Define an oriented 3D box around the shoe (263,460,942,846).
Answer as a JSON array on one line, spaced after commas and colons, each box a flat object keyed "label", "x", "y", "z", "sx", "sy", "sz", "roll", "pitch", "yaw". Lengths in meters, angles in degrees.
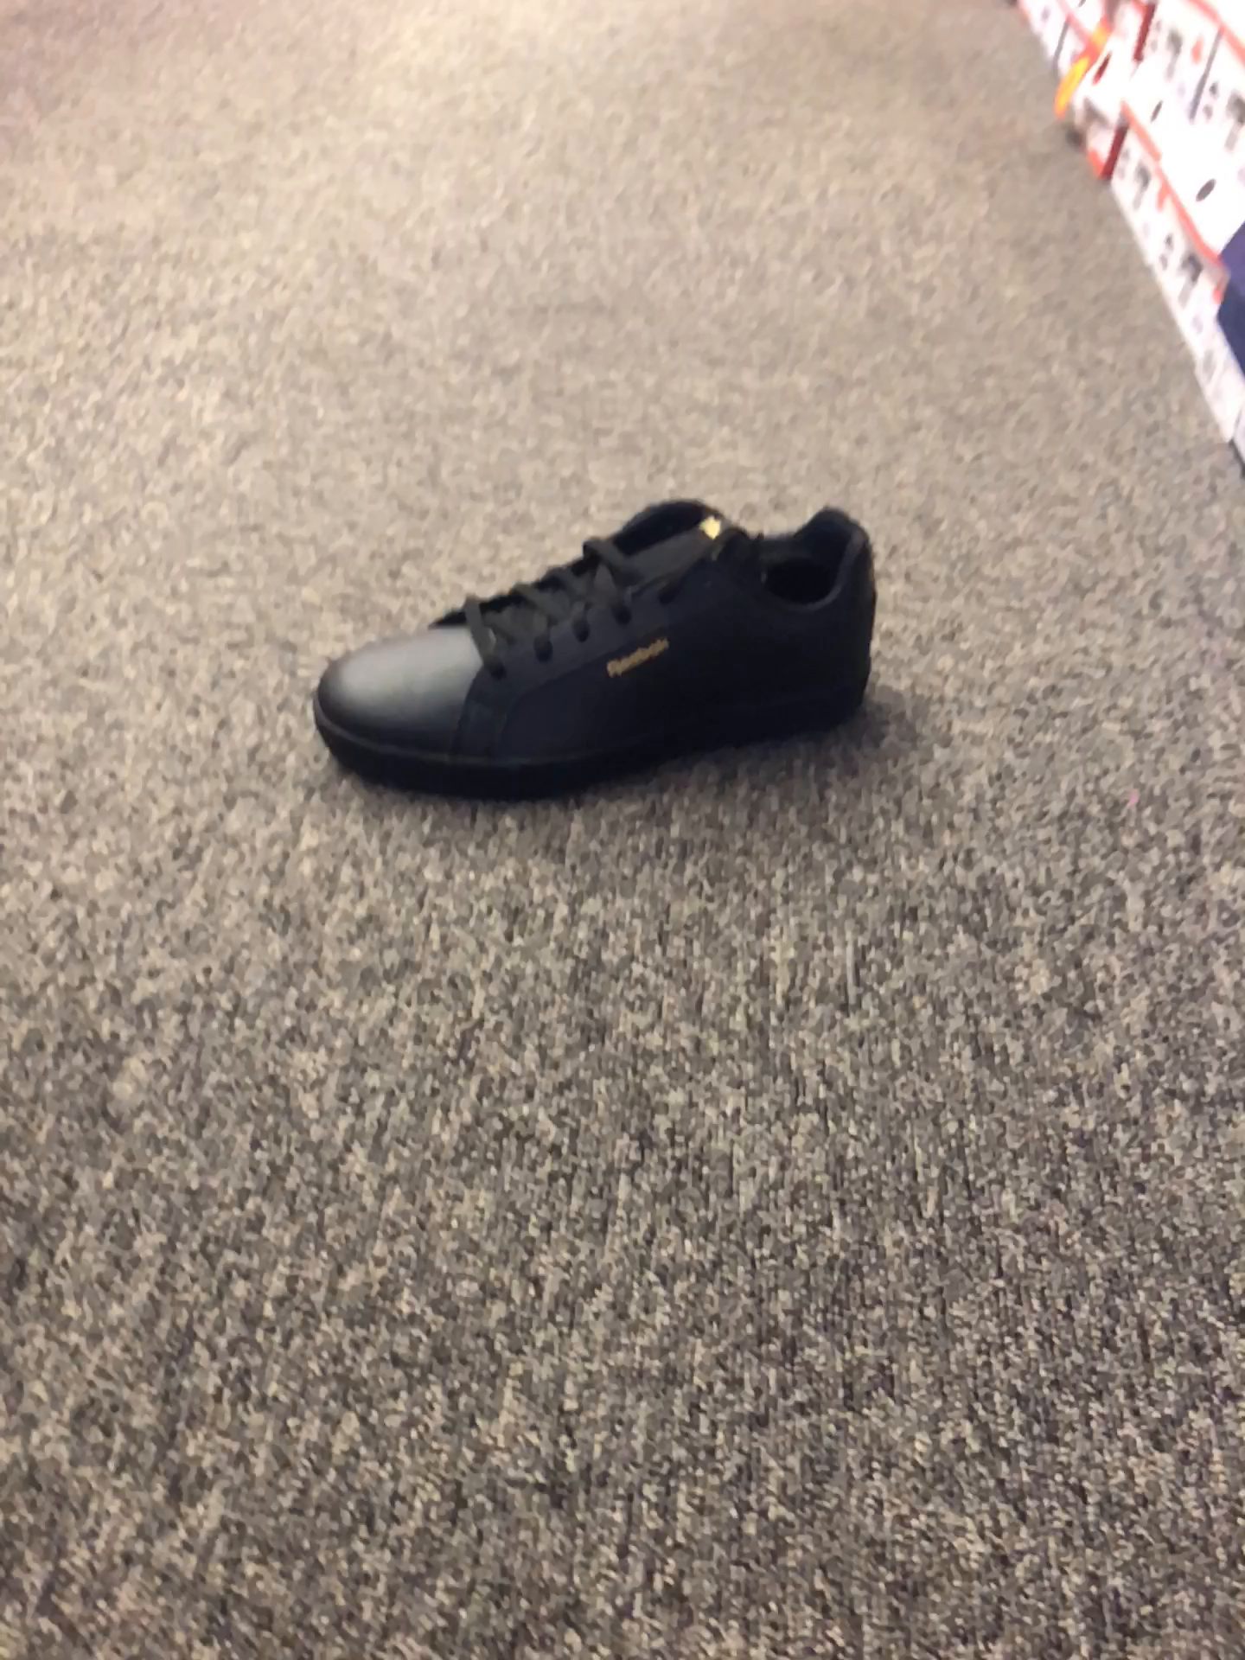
[{"label": "shoe", "x": -0.011, "y": -0.080, "z": 0.588, "sx": 0.260, "sy": 0.089, "sz": 0.099, "roll": -9, "pitch": 44, "yaw": -11}]
